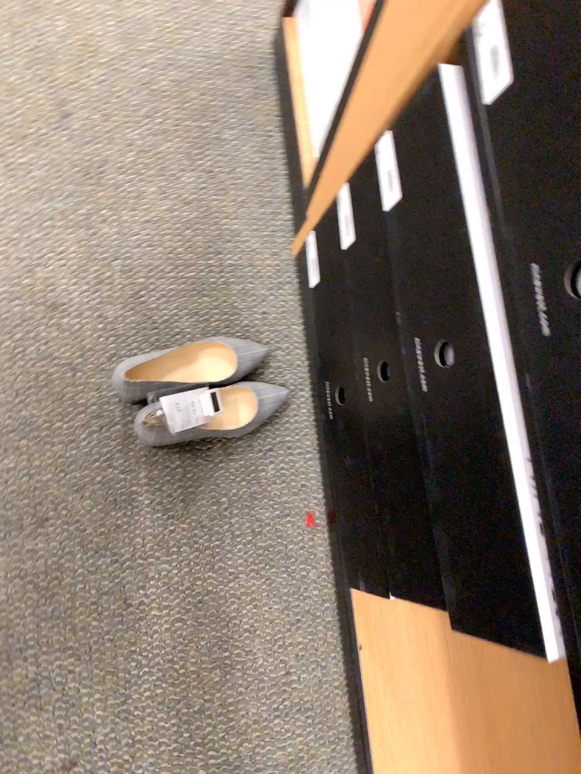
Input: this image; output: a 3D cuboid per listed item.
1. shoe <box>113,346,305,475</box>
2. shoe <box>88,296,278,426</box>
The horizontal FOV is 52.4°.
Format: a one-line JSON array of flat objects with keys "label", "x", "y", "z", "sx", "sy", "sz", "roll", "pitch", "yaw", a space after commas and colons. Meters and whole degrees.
[{"label": "shoe", "x": -0.120, "y": 0.036, "z": 0.831, "sx": 0.230, "sy": 0.150, "sz": 0.090, "roll": -19, "pitch": 84, "yaw": -19}, {"label": "shoe", "x": -0.156, "y": -0.034, "z": 0.844, "sx": 0.230, "sy": 0.150, "sz": 0.090, "roll": -19, "pitch": 84, "yaw": -19}]
